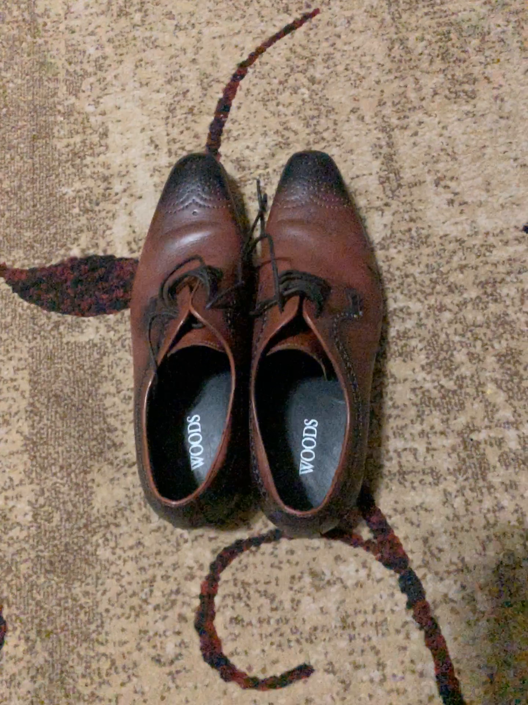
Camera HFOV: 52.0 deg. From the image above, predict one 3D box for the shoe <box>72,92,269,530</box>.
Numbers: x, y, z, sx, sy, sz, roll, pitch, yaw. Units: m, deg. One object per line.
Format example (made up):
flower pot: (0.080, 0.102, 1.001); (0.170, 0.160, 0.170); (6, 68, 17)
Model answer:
shoe: (-0.054, -0.023, 0.380); (0.095, 0.116, 0.274); (-3, 73, 5)

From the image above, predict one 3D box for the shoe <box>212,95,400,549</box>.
shoe: (0.035, -0.019, 0.369); (0.095, 0.116, 0.274); (2, 74, 6)
